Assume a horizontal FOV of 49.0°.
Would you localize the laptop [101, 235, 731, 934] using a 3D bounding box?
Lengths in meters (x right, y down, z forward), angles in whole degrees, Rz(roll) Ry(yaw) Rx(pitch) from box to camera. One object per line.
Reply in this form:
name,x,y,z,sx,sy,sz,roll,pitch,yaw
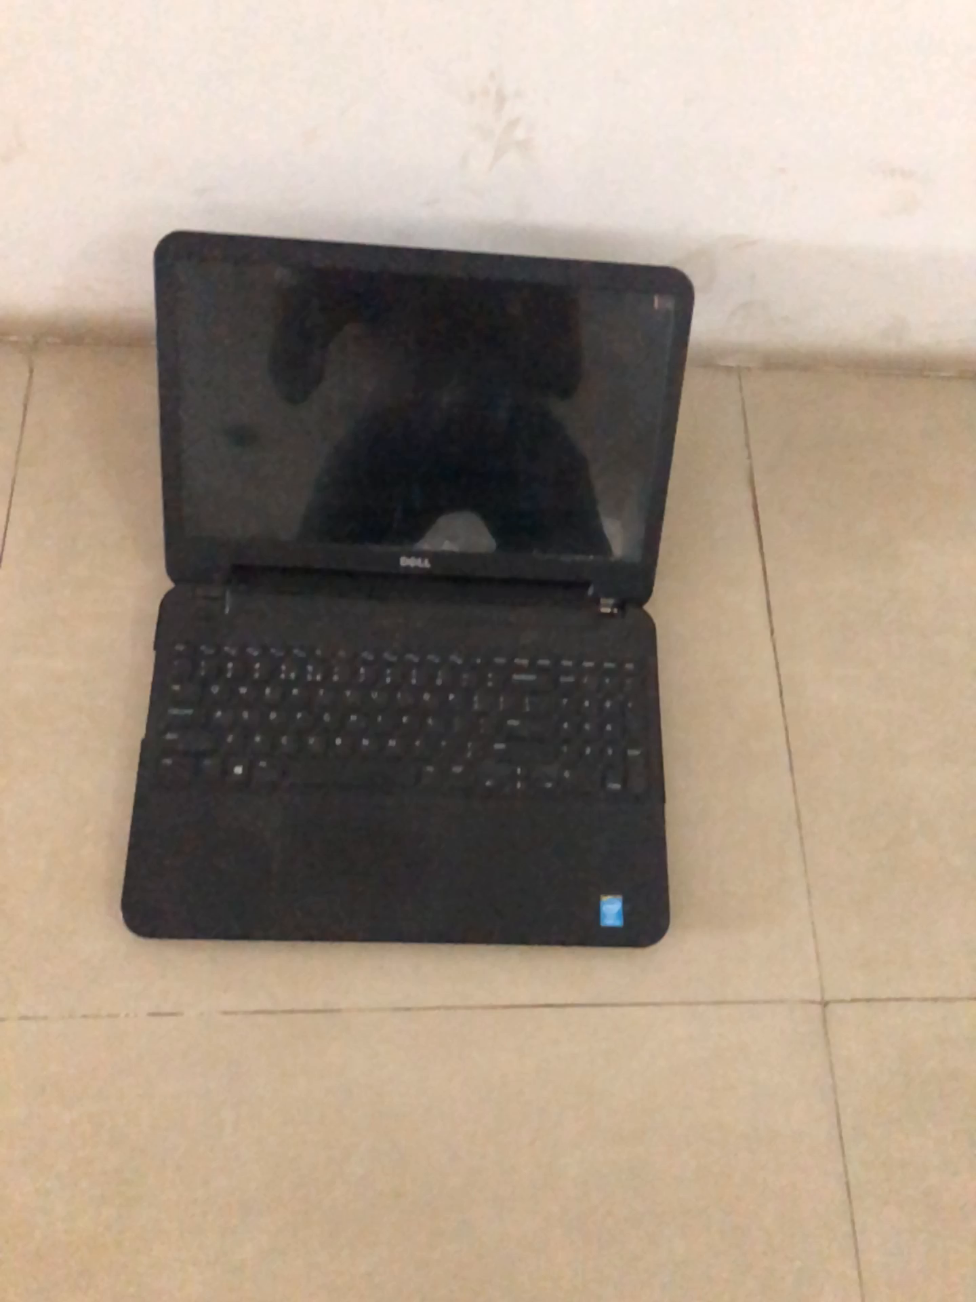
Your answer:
laptop,-0.041,-0.038,0.702,0.322,0.166,0.410,2,67,-6
